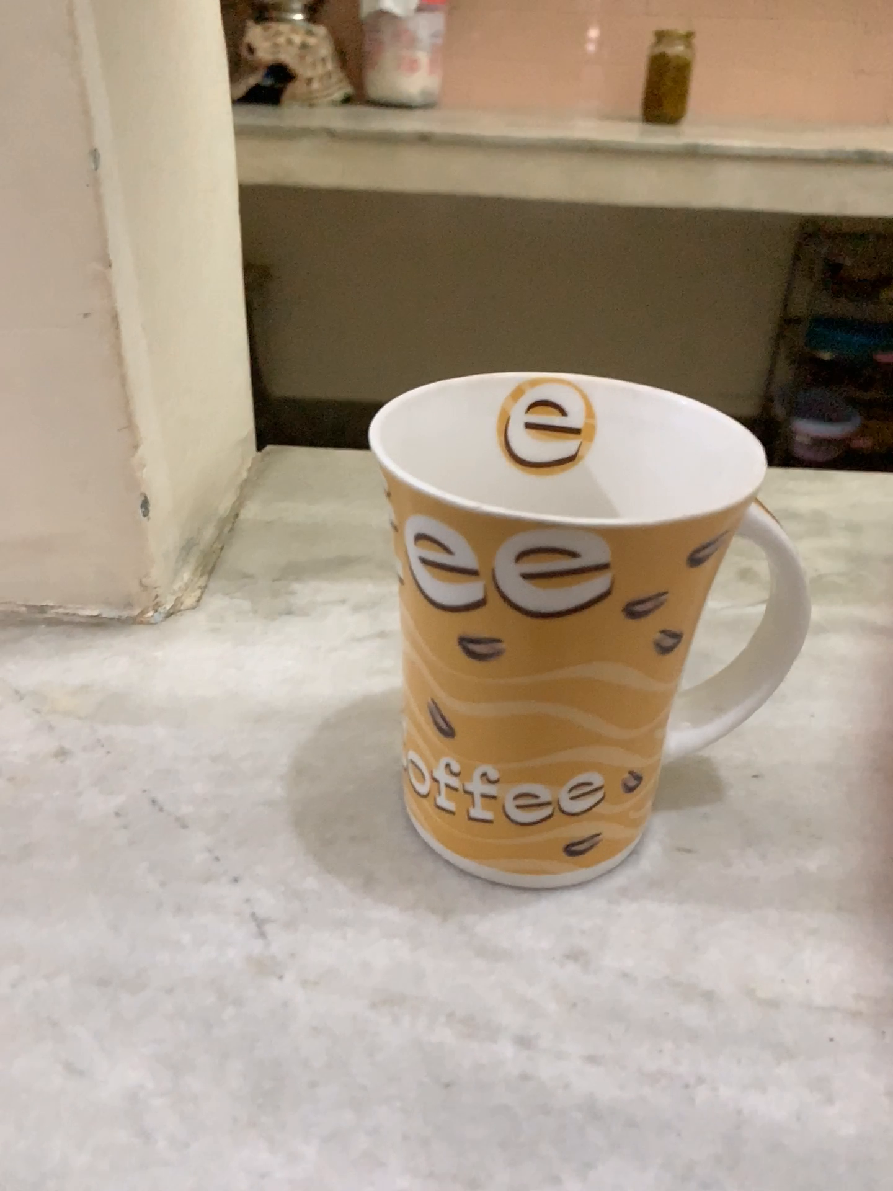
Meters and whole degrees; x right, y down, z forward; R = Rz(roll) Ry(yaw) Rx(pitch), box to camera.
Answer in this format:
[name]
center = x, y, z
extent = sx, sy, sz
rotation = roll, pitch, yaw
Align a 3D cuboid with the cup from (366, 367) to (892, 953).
[cup]
center = 0.034, 0.010, 0.209
extent = 0.100, 0.100, 0.080
rotation = -2, 31, -7
